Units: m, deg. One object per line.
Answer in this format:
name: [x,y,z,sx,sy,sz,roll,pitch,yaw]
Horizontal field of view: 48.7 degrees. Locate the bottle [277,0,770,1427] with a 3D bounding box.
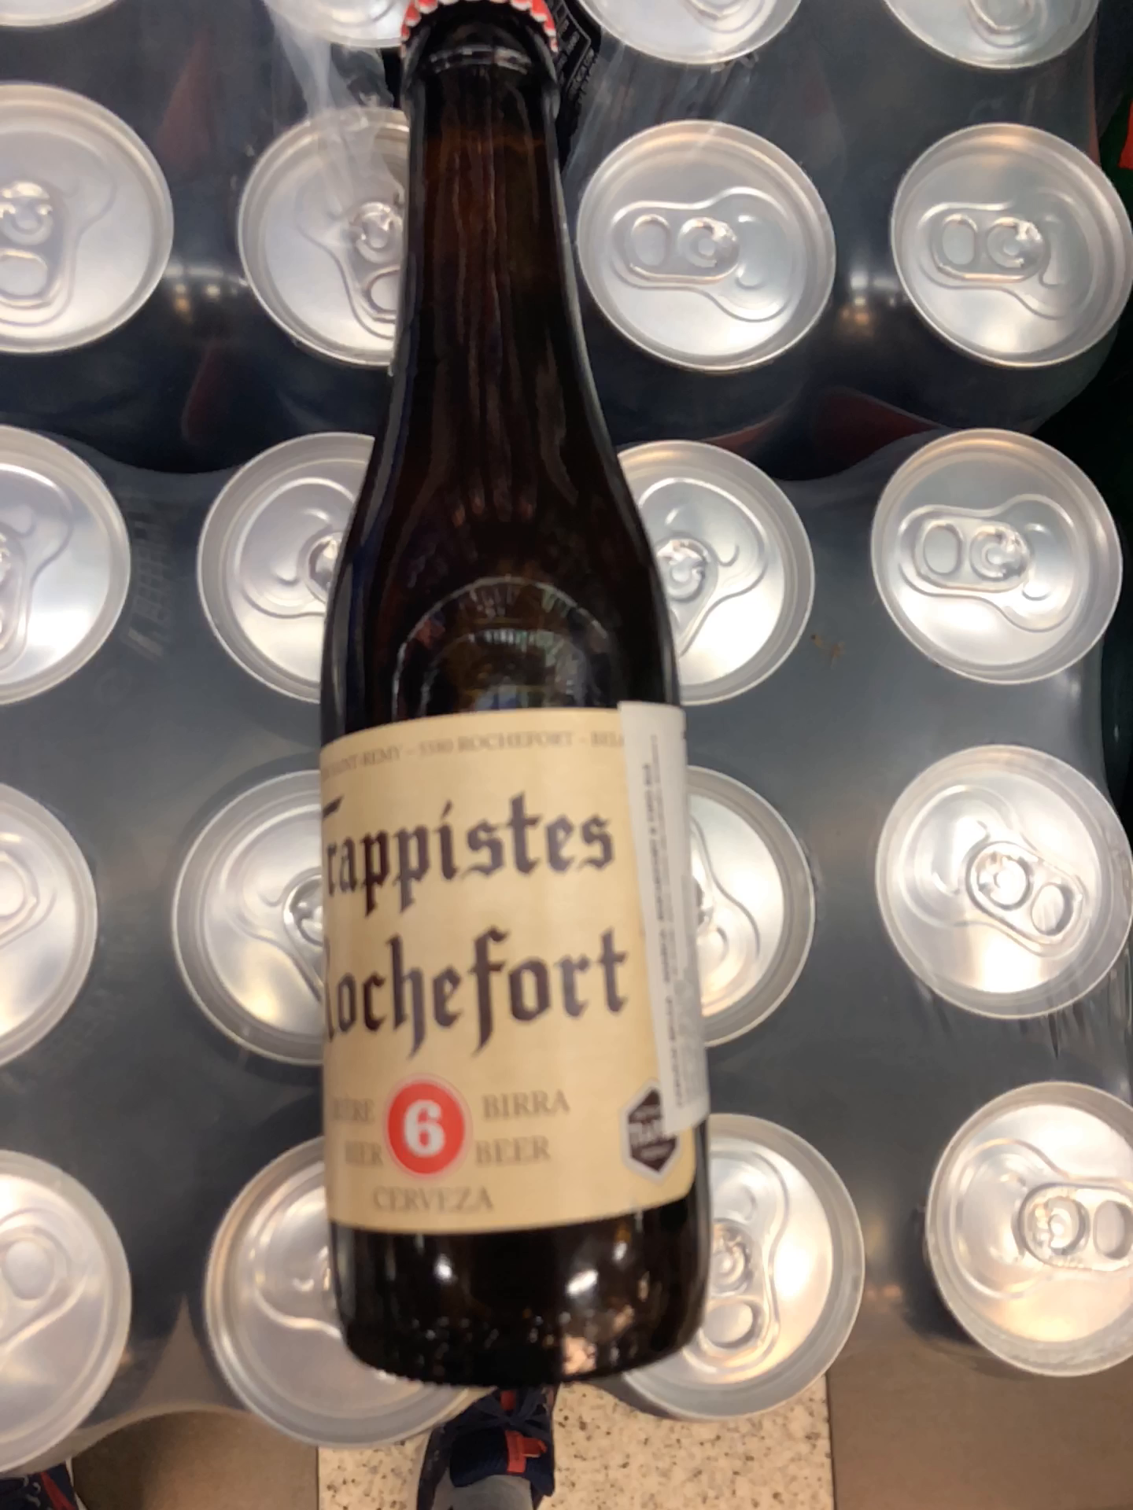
bottle: [-0.012,-0.031,0.203,0.060,0.050,0.240,-2,82,-7]
